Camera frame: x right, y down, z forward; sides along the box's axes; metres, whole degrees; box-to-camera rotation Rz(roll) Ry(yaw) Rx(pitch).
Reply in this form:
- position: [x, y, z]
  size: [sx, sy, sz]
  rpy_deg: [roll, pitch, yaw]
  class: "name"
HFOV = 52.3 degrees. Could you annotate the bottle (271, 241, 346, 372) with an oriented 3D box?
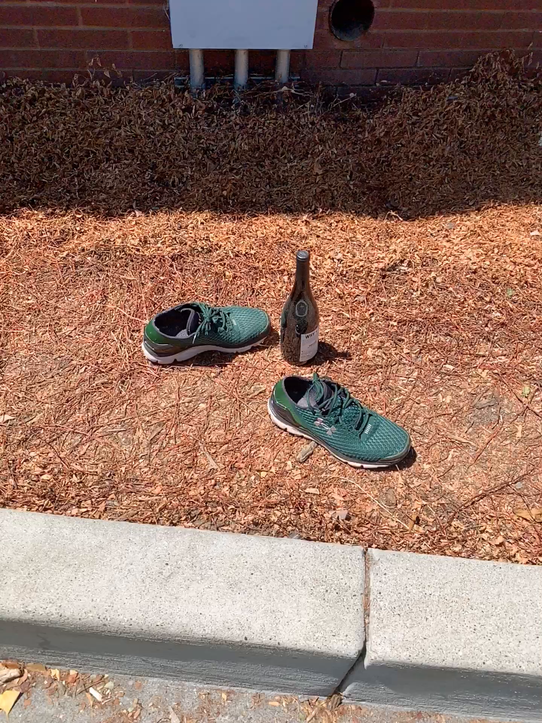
- position: [0.072, -0.109, 1.160]
  size: [0.090, 0.259, 0.090]
  rpy_deg: [3, 49, -3]
  class: "bottle"
